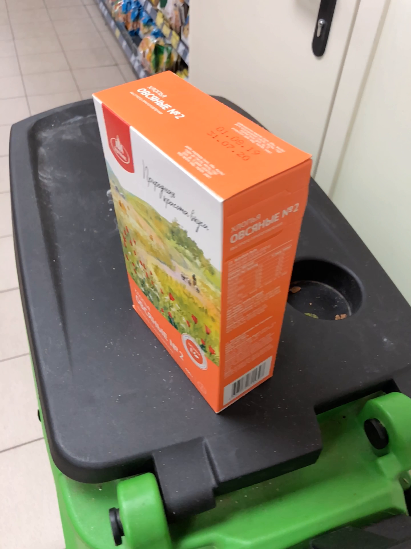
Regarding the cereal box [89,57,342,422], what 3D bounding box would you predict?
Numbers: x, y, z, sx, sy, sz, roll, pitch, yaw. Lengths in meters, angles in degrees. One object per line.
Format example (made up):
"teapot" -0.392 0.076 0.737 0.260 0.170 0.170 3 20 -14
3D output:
"cereal box" -0.004 -0.017 0.326 0.060 0.209 0.150 -28 53 -25
